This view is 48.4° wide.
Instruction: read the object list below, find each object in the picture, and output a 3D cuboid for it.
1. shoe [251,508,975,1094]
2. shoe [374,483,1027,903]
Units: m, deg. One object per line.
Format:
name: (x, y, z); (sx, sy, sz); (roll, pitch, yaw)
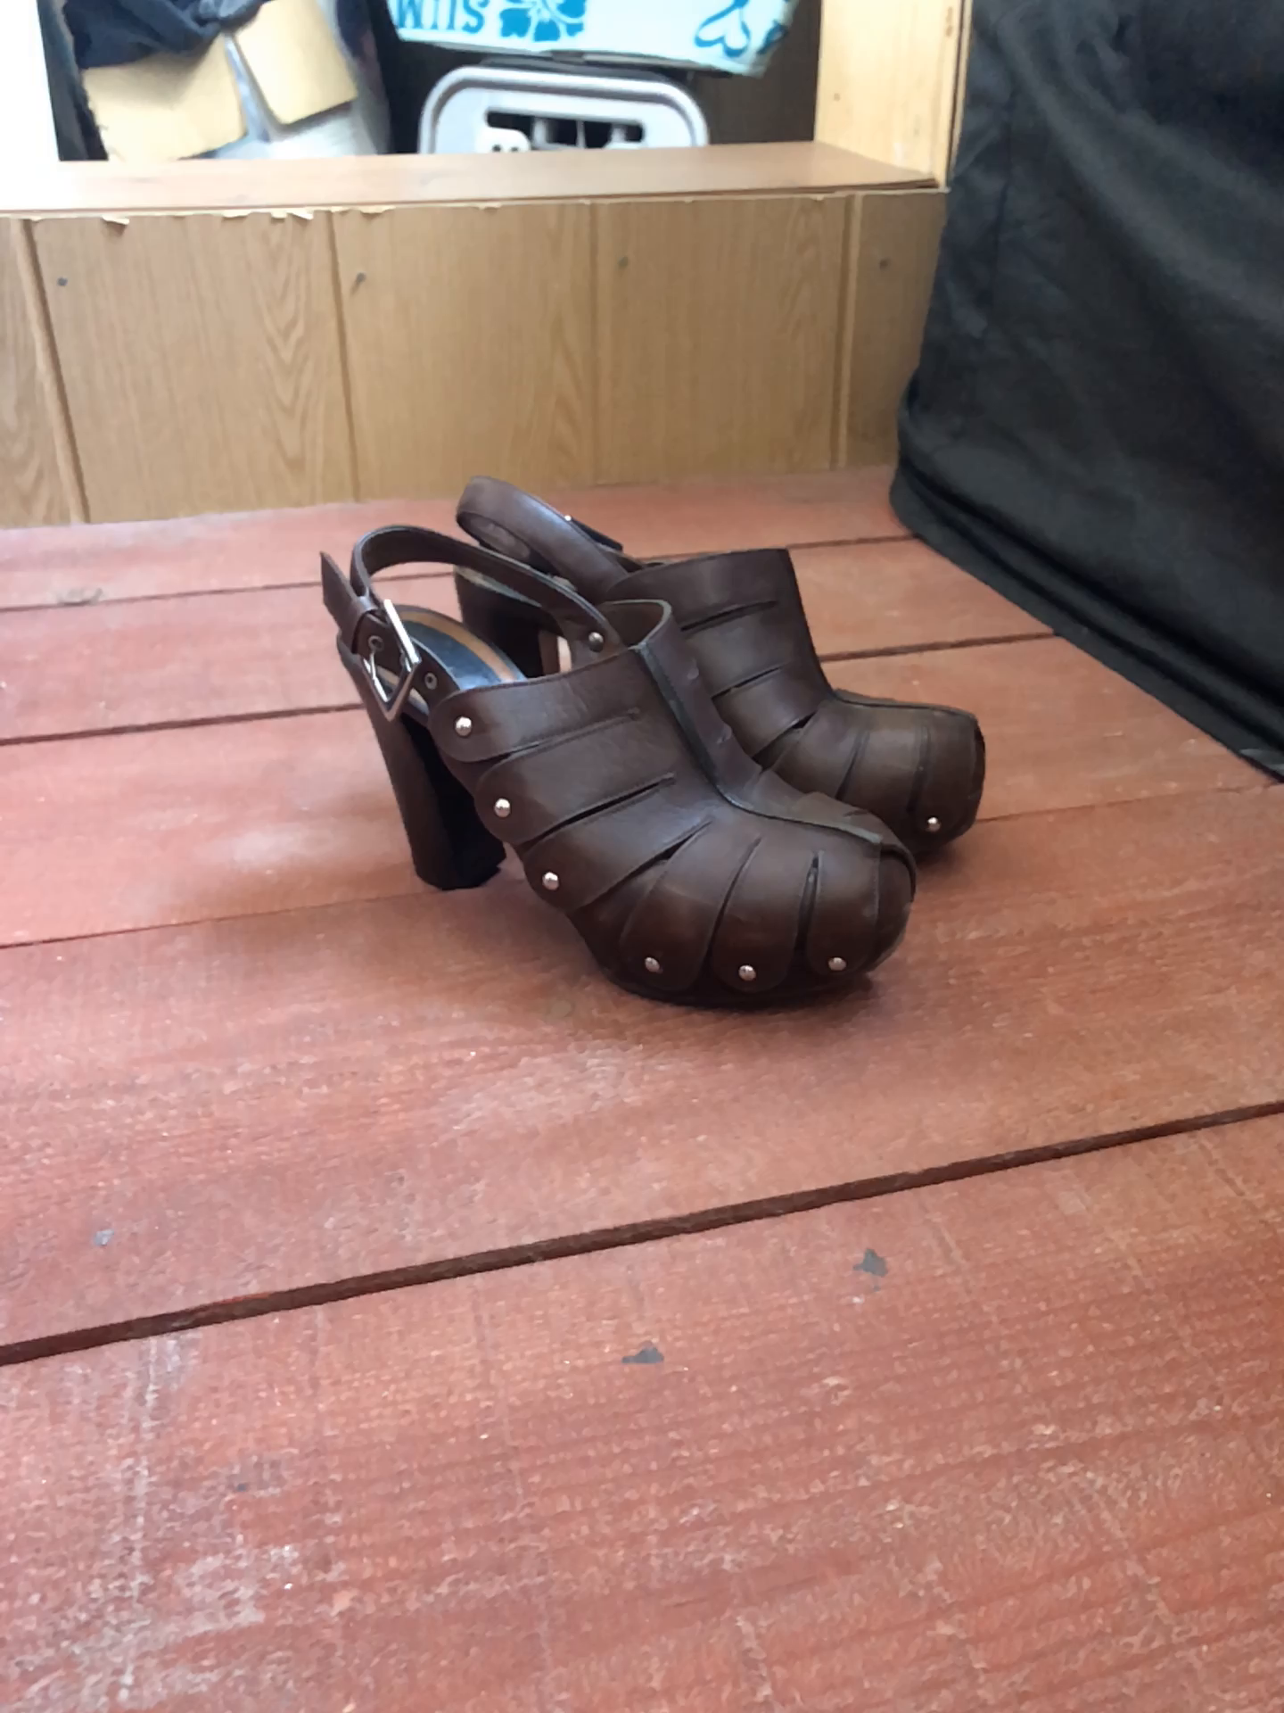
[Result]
shoe: (-0.014, -0.028, 0.460); (0.210, 0.120, 0.080); (17, 34, 29)
shoe: (0.020, -0.065, 0.516); (0.210, 0.110, 0.080); (10, 17, 10)
